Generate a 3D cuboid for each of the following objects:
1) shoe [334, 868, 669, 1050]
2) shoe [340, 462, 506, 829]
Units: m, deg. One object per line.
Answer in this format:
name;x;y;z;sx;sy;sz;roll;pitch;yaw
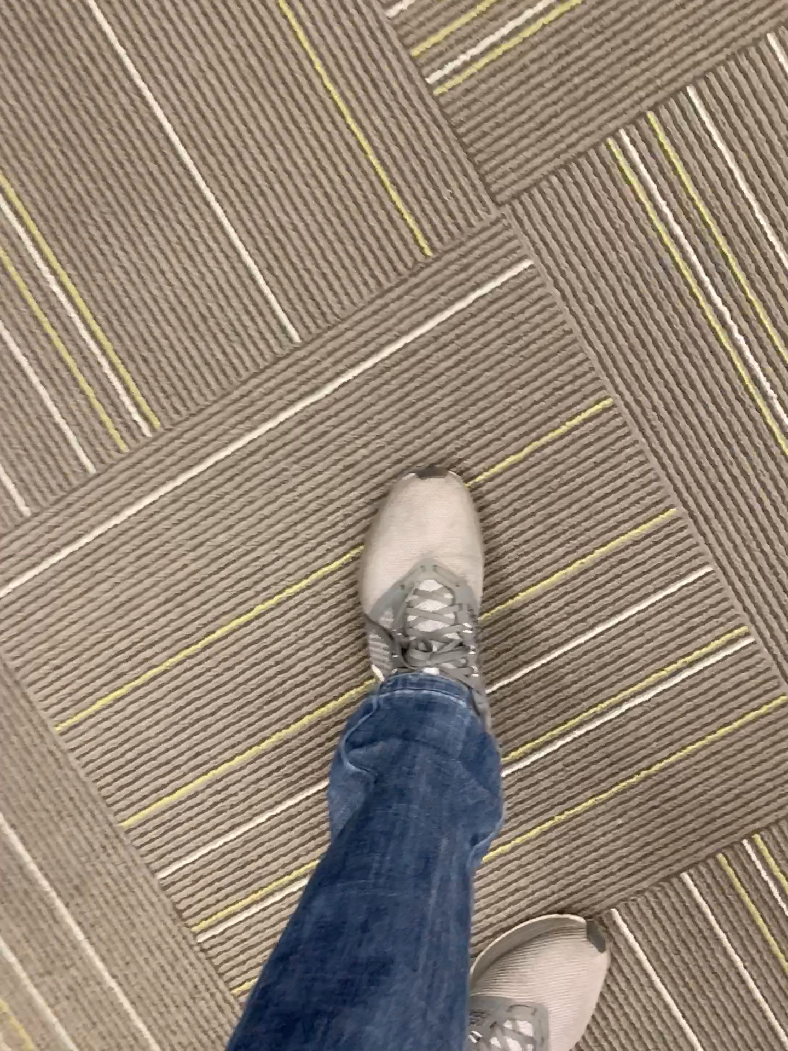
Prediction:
shoe;0.097;0.497;0.781;0.299;0.093;0.128;-44;92;8
shoe;0.029;0.103;0.726;0.131;0.093;0.313;-1;97;4
